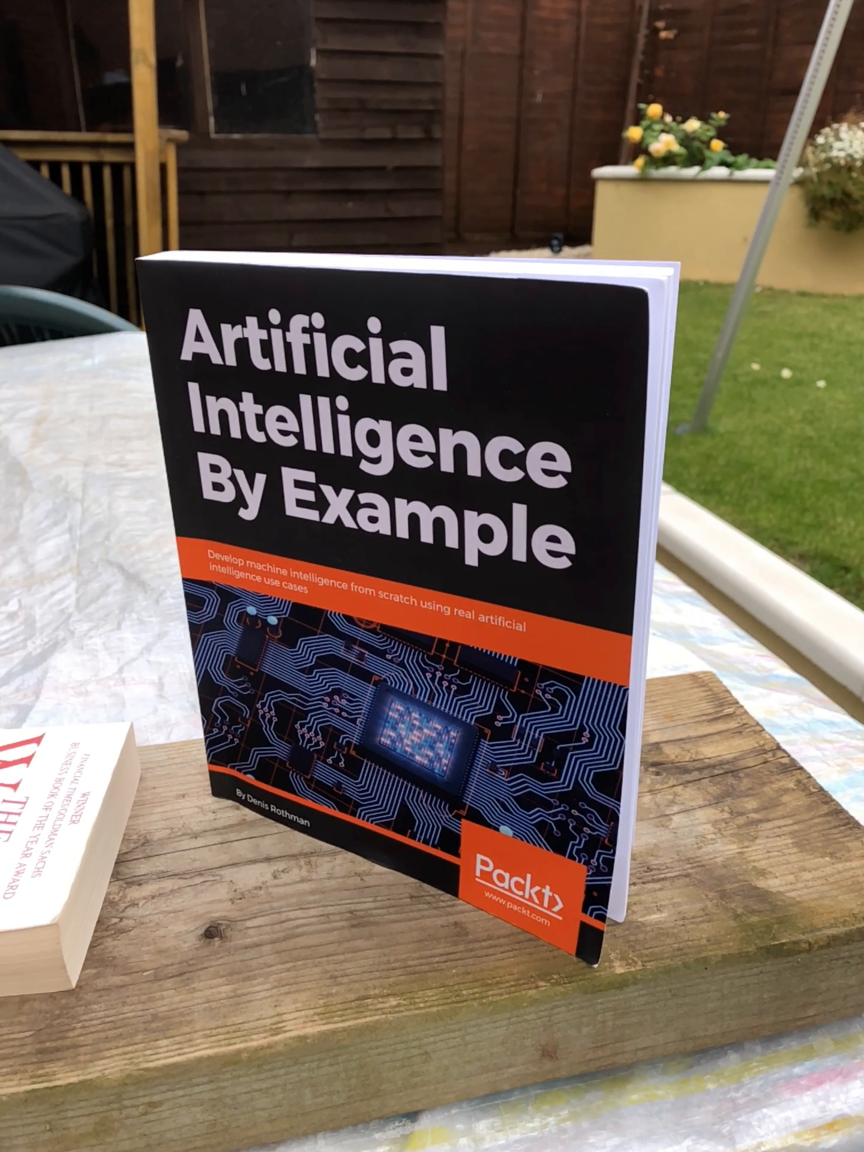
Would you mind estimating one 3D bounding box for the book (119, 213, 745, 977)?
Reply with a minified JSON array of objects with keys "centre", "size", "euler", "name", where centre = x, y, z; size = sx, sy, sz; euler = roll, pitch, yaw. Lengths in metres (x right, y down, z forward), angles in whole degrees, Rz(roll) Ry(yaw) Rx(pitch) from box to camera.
[{"centre":[-0.012,-0.002,0.350],"size":[0.210,0.239,0.040],"euler":[14,26,29],"name":"book"}]
